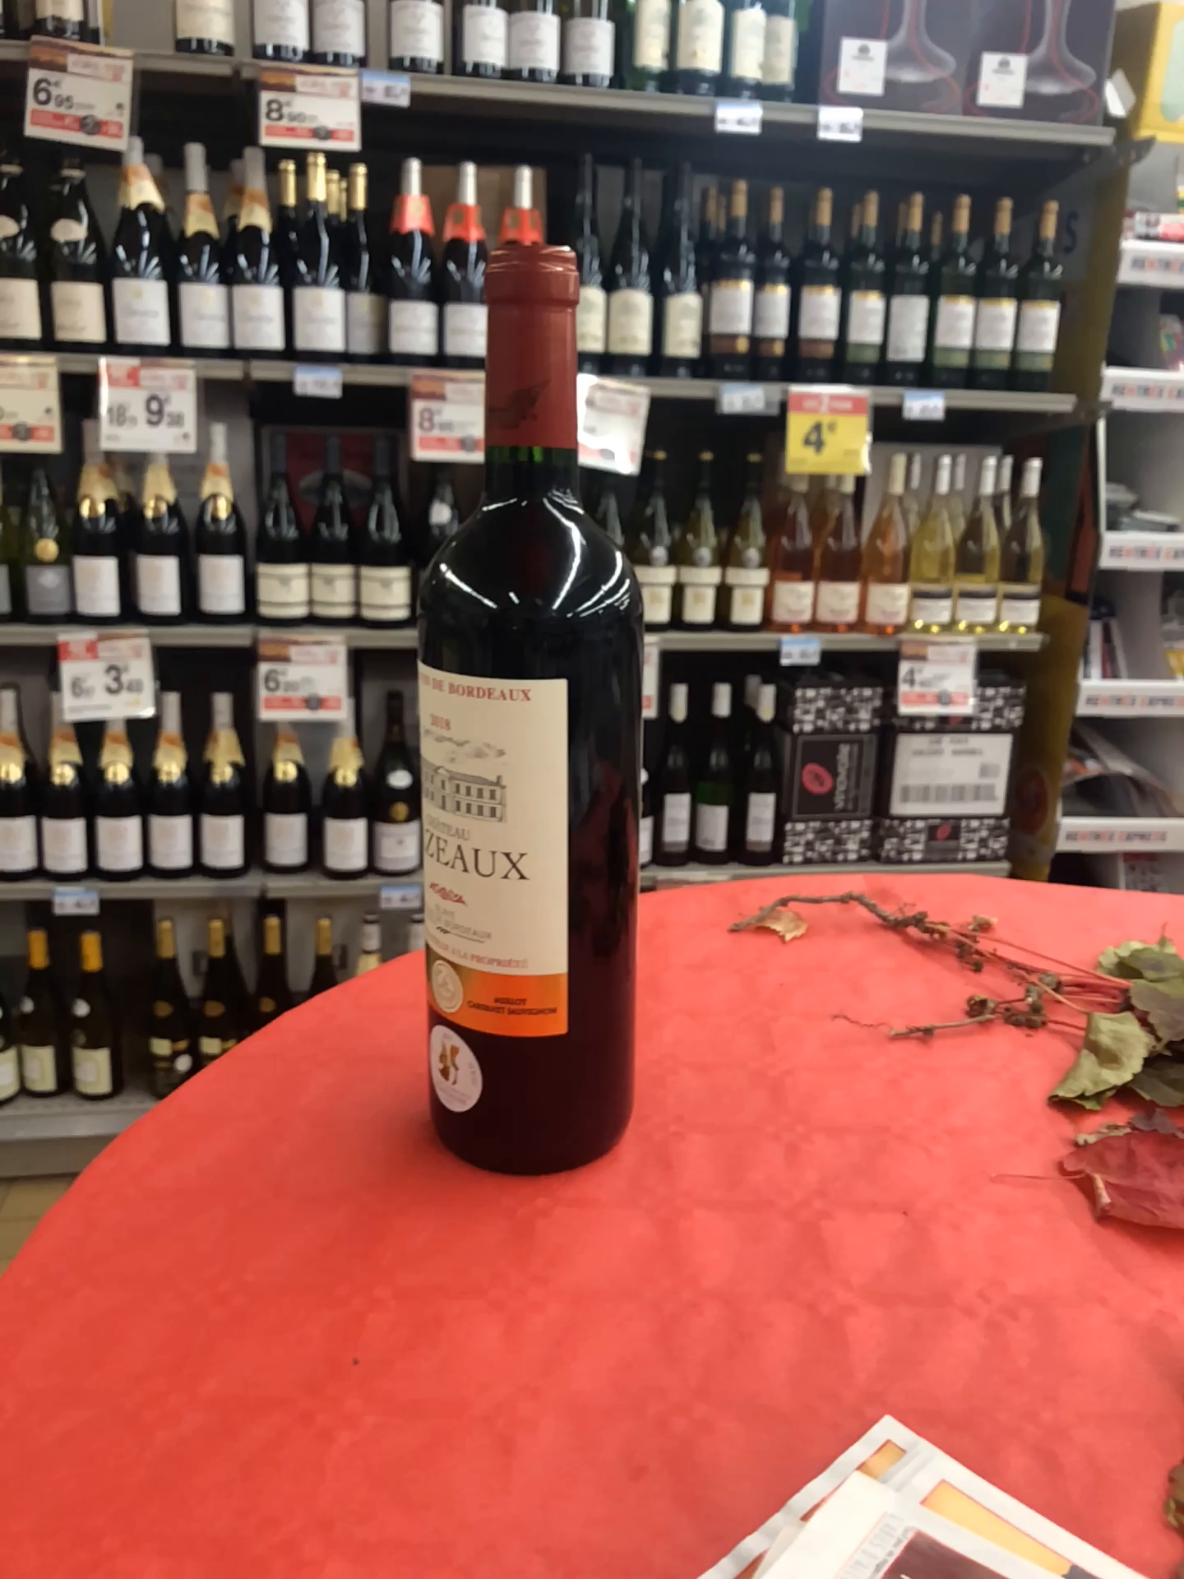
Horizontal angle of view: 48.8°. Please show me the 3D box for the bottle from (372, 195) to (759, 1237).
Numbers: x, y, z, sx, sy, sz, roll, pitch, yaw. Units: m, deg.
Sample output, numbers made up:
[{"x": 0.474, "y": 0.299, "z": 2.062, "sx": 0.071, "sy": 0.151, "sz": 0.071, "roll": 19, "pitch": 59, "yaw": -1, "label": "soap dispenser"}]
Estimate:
[{"x": -0.014, "y": -0.020, "z": 0.421, "sx": 0.080, "sy": 0.299, "sz": 0.080, "roll": 2, "pitch": 16, "yaw": -1, "label": "bottle"}]
